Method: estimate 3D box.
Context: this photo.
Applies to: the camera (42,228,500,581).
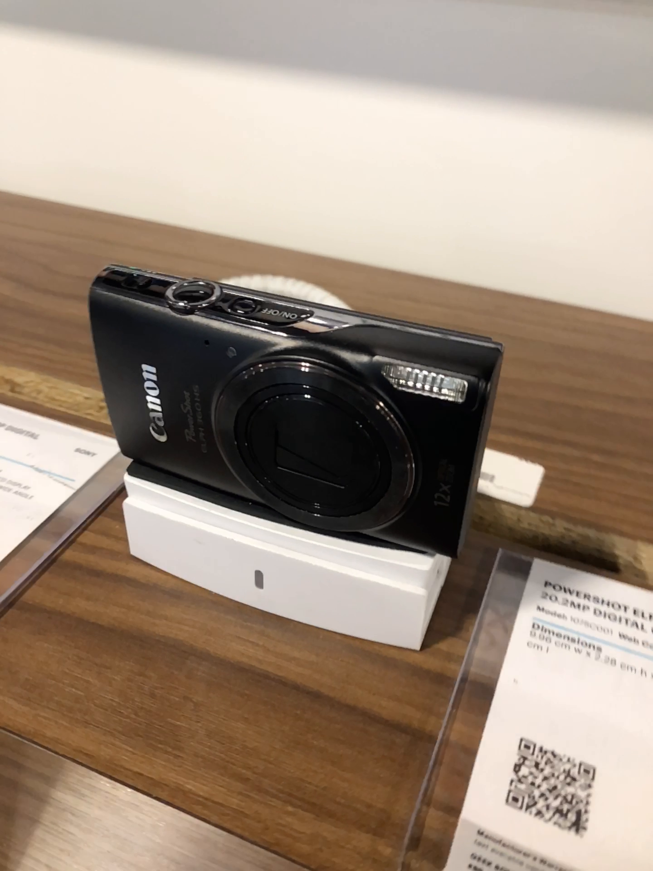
[{"bbox_3d":[-0.014,-0.010,0.182,0.100,0.060,0.030,15,37,16],"label":"camera"}]
